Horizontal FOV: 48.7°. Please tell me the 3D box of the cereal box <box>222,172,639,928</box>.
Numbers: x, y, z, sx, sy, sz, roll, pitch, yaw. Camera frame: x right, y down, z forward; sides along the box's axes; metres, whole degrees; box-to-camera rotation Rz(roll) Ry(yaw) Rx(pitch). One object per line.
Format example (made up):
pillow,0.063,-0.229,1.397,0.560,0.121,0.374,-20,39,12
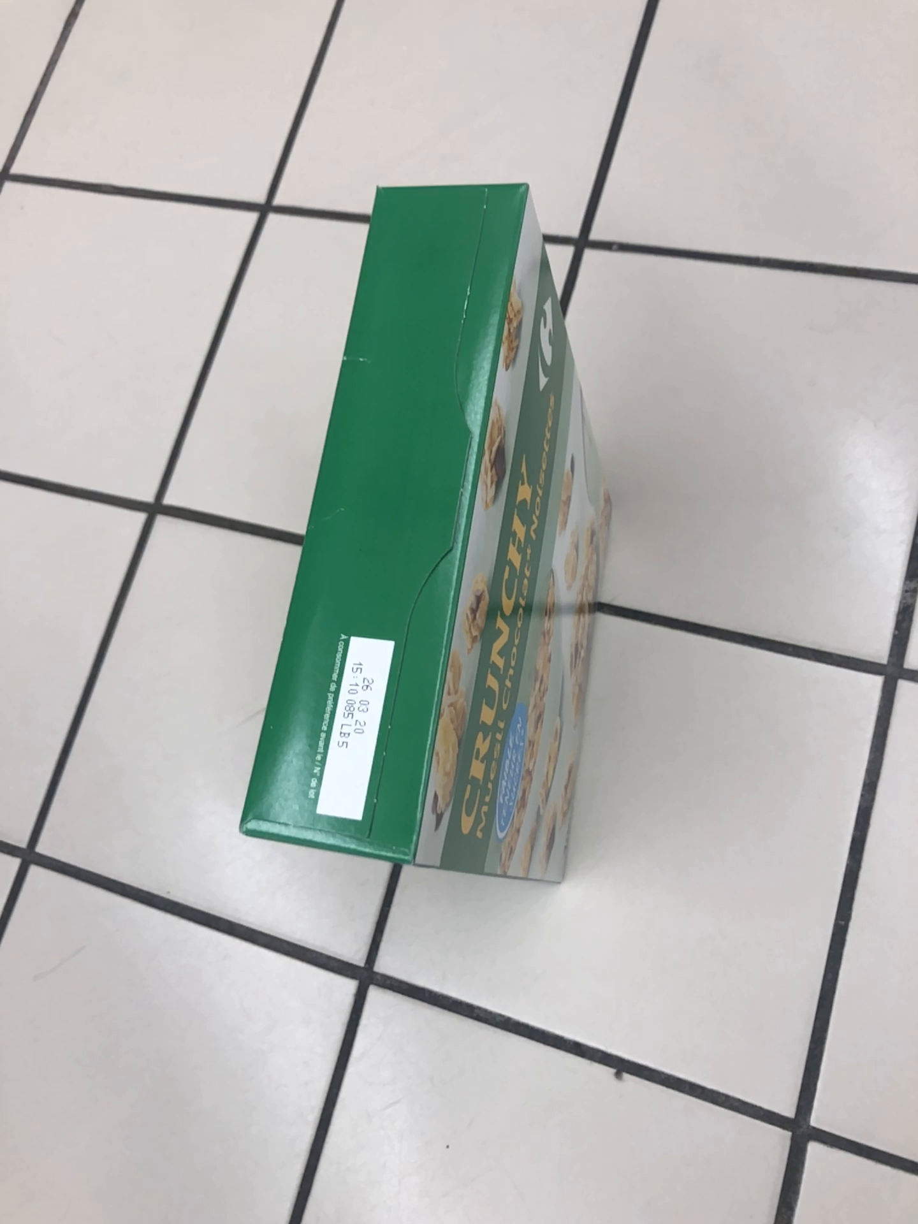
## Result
cereal box,0.017,0.006,0.378,0.060,0.250,0.200,5,76,16
